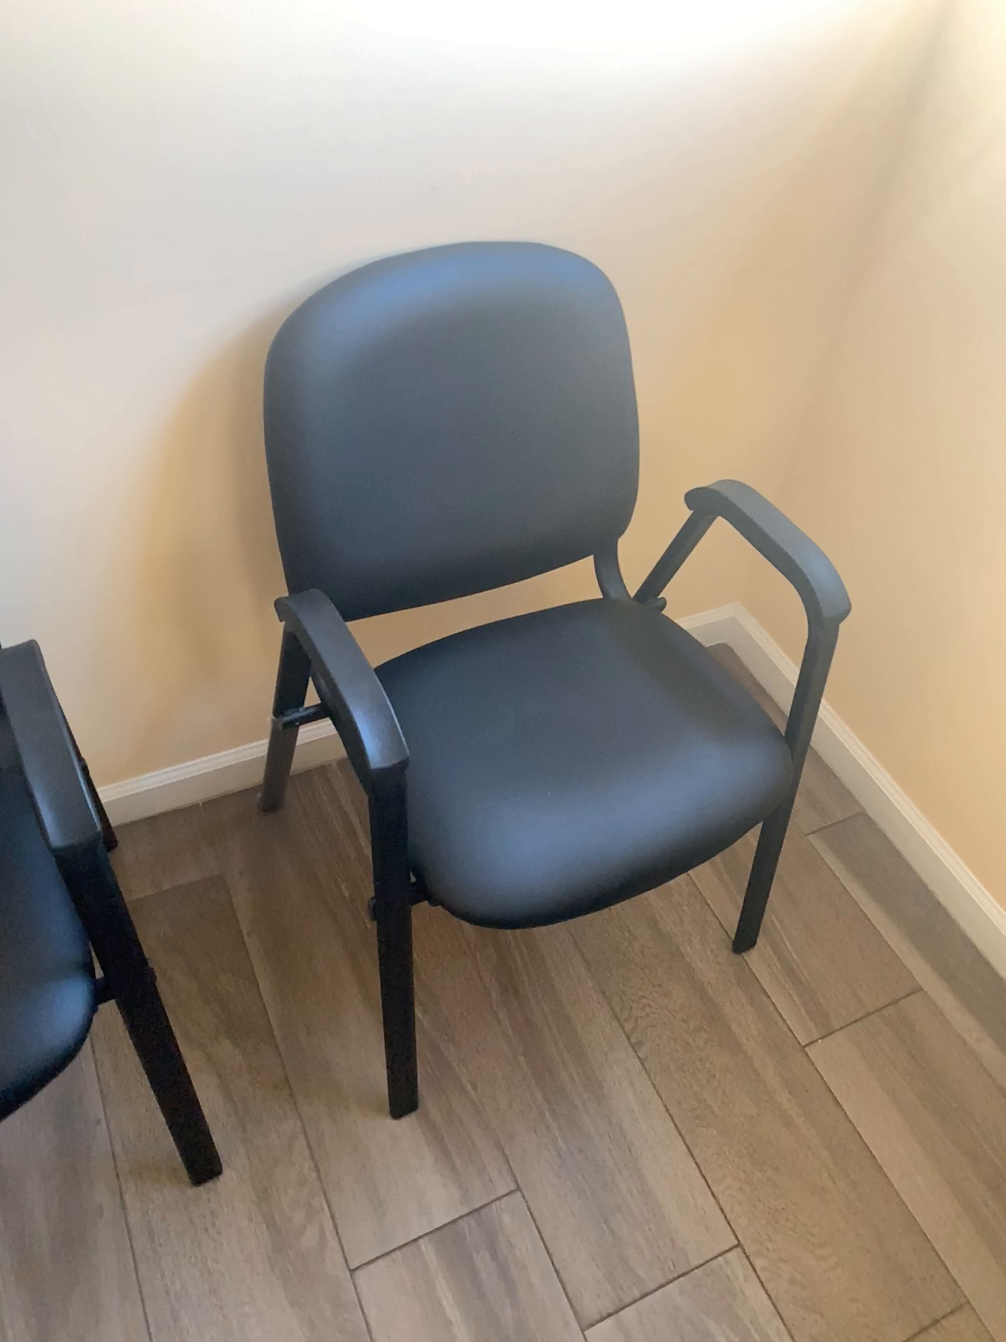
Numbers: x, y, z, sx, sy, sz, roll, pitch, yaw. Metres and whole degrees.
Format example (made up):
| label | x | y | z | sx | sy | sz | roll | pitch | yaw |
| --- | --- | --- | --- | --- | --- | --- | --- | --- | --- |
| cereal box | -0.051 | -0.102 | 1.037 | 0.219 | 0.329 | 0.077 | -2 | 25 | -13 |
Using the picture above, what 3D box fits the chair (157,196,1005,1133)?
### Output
| label | x | y | z | sx | sy | sz | roll | pitch | yaw |
| --- | --- | --- | --- | --- | --- | --- | --- | --- | --- |
| chair | 0.036 | -0.001 | 1.257 | 0.636 | 0.847 | 0.590 | -18 | 51 | -22 |
